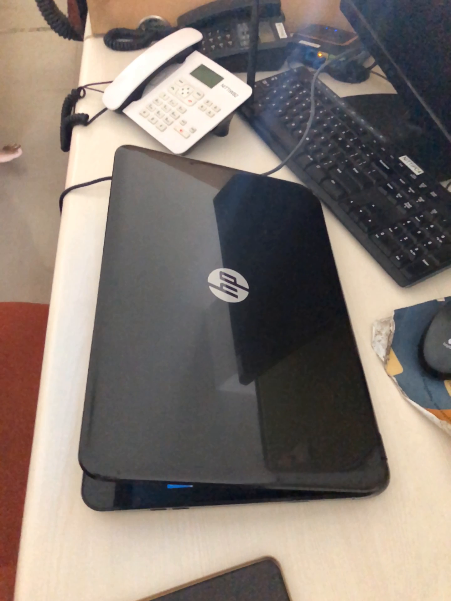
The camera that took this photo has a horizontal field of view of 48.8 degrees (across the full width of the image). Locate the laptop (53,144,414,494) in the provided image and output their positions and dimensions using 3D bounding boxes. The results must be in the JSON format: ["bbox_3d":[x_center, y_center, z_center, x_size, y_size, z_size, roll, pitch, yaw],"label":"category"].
[{"bbox_3d":[-0.004,-0.011,0.473,0.245,0.072,0.352,-2,53,-2],"label":"laptop"}]
